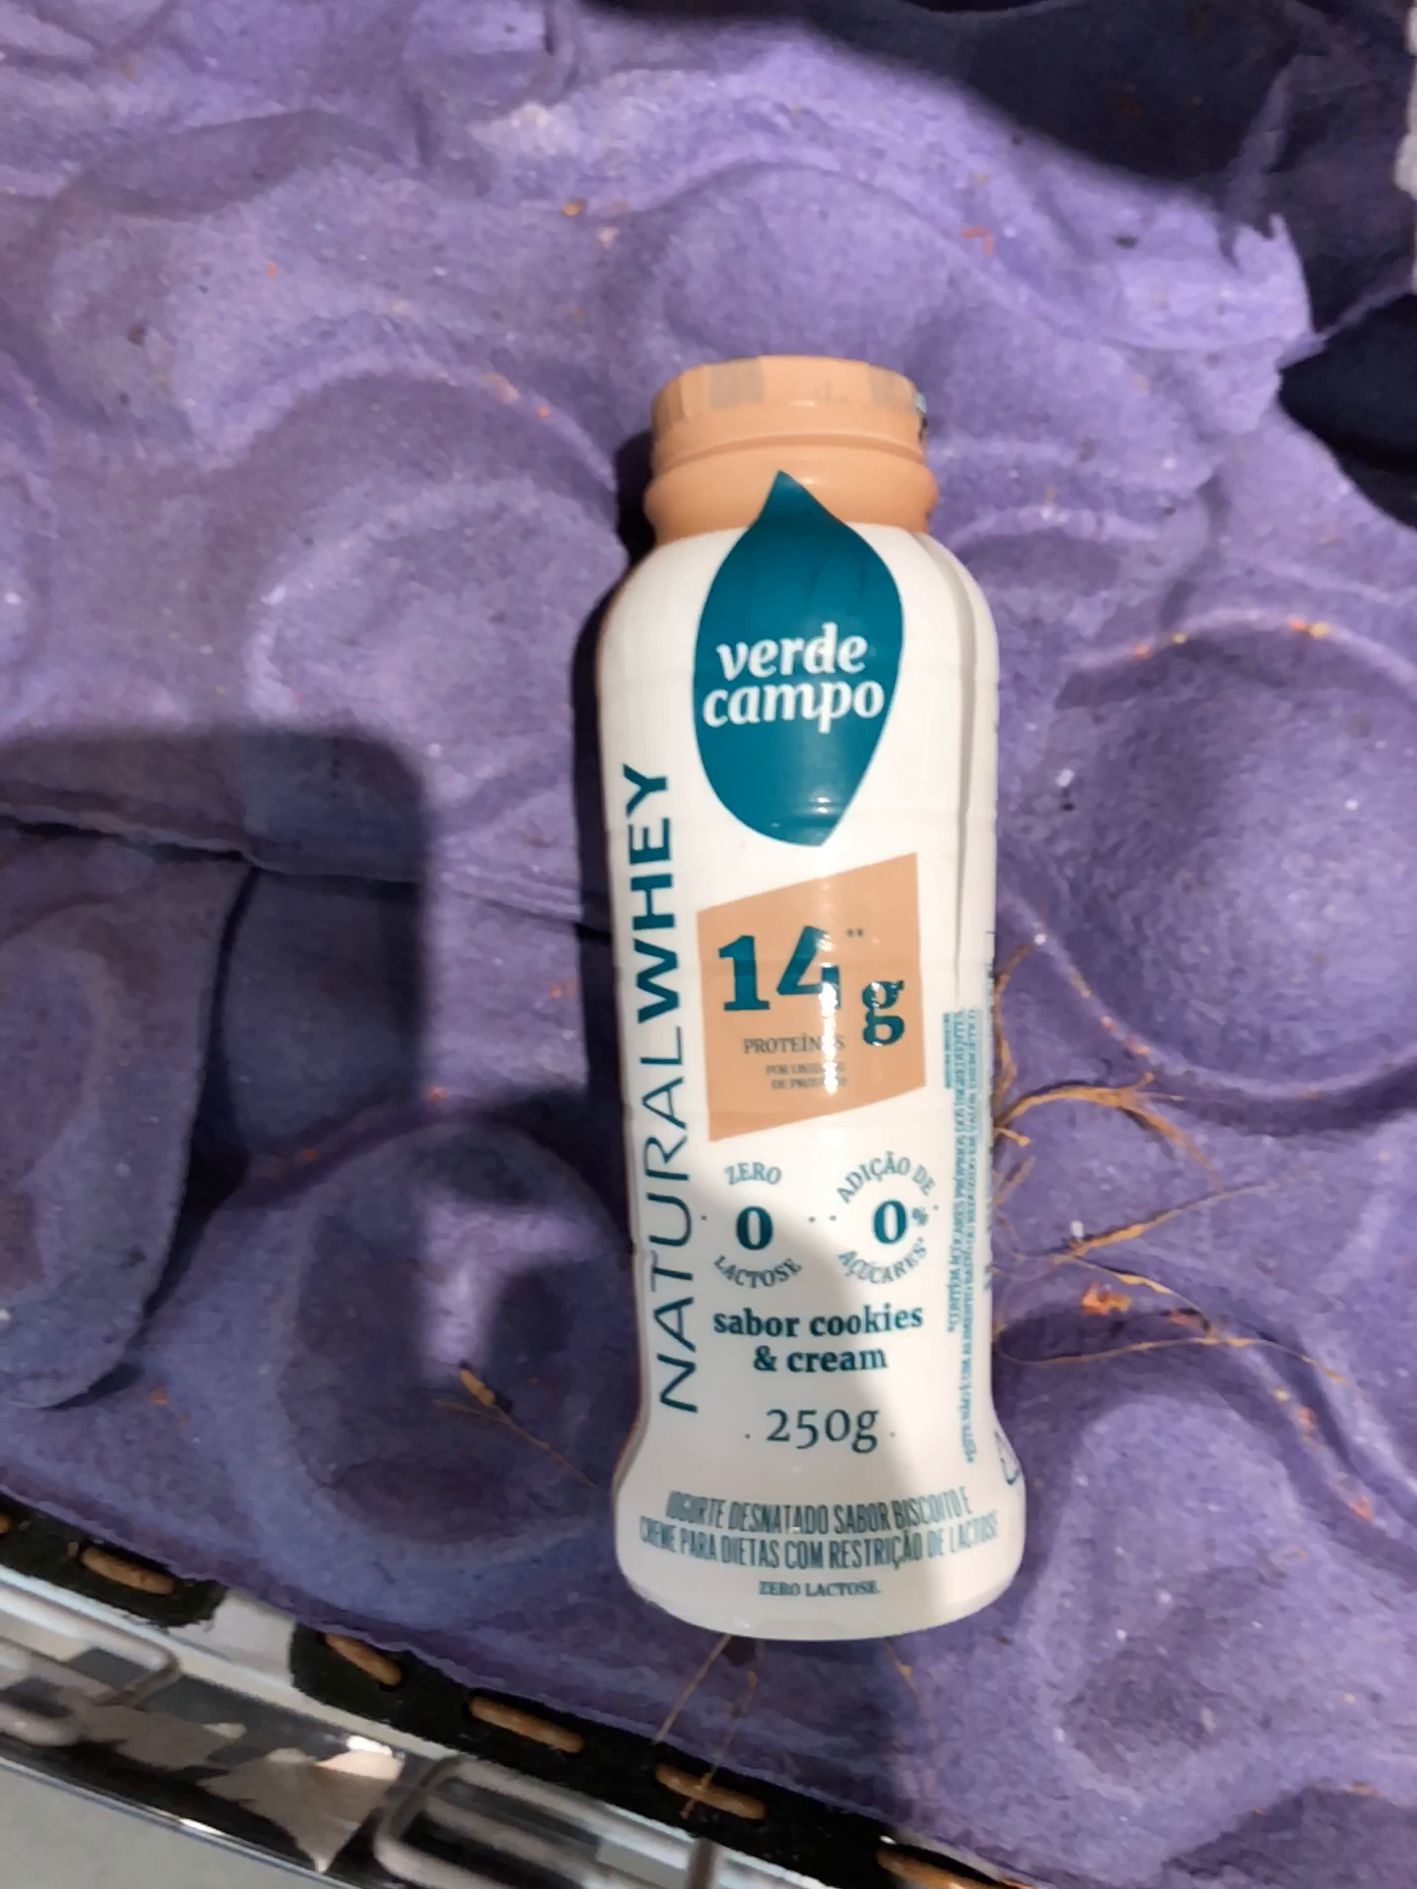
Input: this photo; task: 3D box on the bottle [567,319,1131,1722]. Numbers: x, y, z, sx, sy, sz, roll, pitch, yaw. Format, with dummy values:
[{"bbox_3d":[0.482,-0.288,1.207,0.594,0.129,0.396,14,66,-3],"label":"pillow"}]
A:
[{"bbox_3d":[0.015,0.008,0.204,0.060,0.040,0.160,-2,88,-2],"label":"bottle"}]
